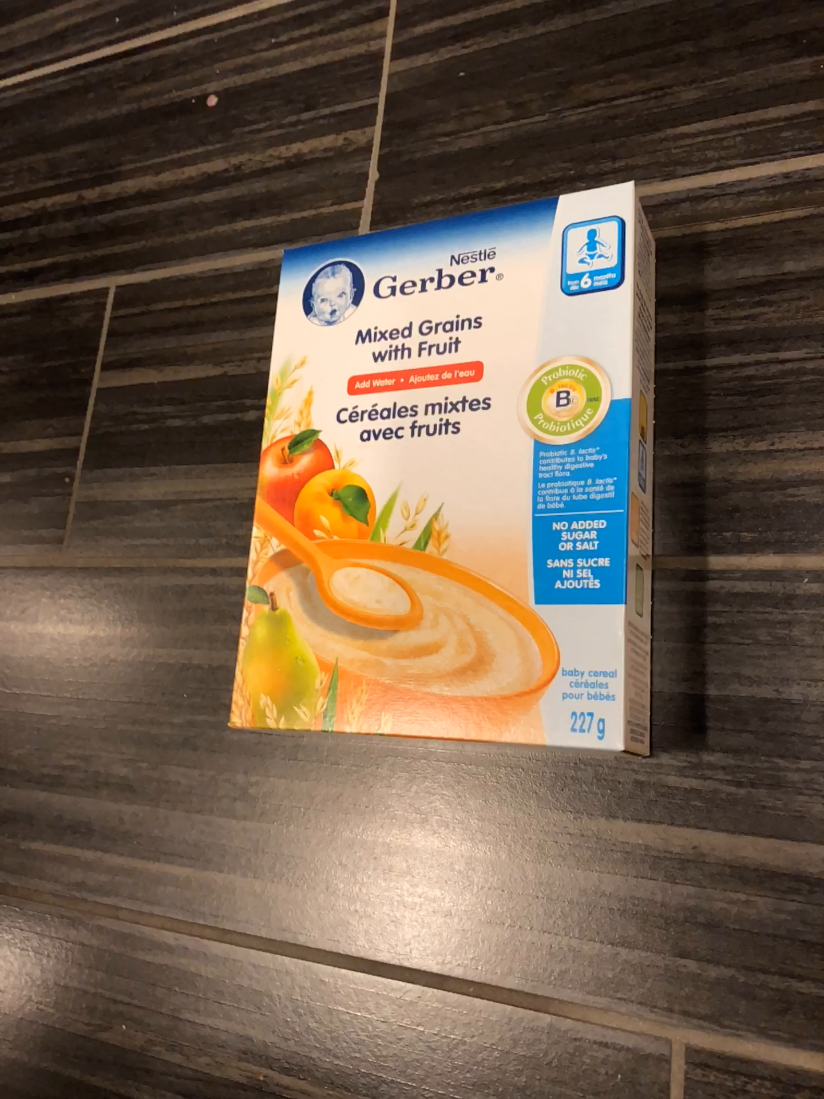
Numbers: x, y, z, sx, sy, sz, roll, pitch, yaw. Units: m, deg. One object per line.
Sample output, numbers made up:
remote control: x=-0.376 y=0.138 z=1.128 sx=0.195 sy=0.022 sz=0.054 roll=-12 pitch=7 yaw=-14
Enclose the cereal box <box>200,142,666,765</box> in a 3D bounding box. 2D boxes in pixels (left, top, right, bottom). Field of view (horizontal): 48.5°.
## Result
cereal box: x=0.011 y=-0.029 z=0.333 sx=0.150 sy=0.050 sz=0.200 roll=-2 pitch=76 yaw=24
